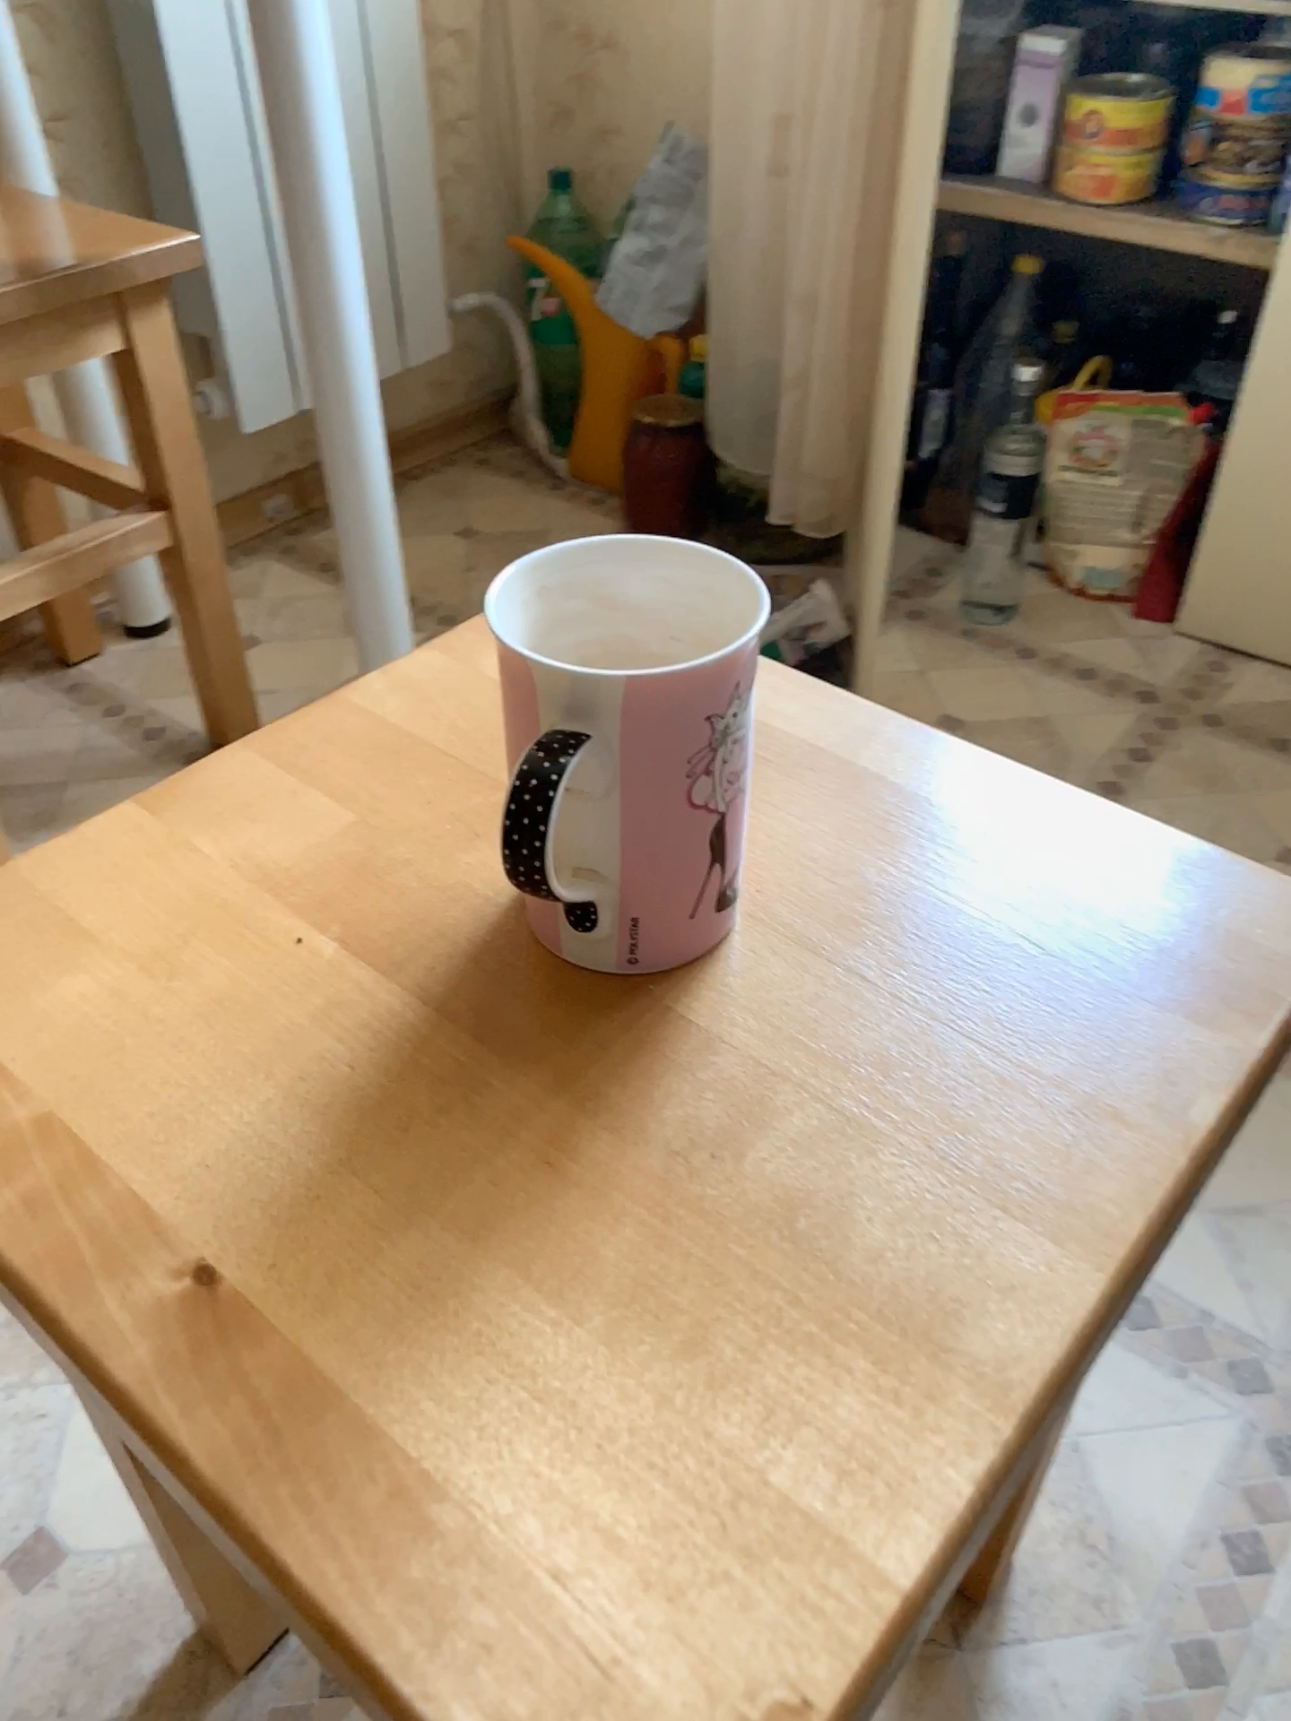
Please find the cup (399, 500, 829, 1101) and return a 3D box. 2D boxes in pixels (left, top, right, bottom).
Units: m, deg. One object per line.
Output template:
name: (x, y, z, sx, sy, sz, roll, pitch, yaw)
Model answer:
cup: (-0.001, -0.021, 0.352, 0.080, 0.099, 0.121, 7, 39, 9)
